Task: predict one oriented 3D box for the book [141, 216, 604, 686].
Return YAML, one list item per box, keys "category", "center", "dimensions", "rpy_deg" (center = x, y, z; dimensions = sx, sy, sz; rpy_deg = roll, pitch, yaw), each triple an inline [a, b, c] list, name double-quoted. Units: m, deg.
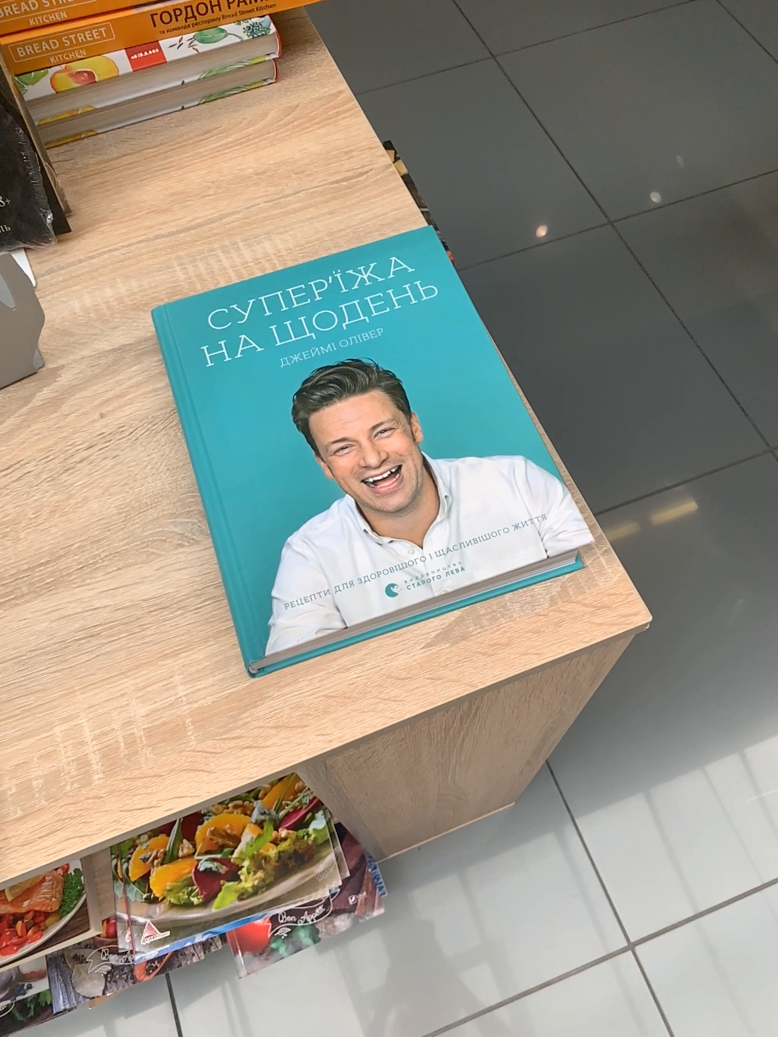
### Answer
- category: "book"
  center: [-0.022, -0.056, 0.477]
  dimensions: [0.200, 0.030, 0.255]
  rpy_deg: [-18, 64, -5]
